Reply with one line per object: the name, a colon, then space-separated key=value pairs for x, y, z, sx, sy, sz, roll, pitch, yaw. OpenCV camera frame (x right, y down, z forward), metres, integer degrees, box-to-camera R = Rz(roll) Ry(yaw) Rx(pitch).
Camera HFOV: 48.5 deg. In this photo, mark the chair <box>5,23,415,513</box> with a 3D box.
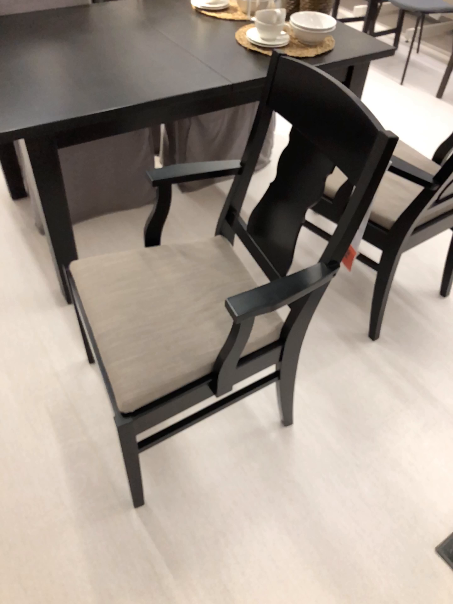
chair: x=-0.085 y=-0.044 z=1.275 sx=0.571 sy=0.994 sz=0.573 roll=-17 pitch=49 yaw=-19
